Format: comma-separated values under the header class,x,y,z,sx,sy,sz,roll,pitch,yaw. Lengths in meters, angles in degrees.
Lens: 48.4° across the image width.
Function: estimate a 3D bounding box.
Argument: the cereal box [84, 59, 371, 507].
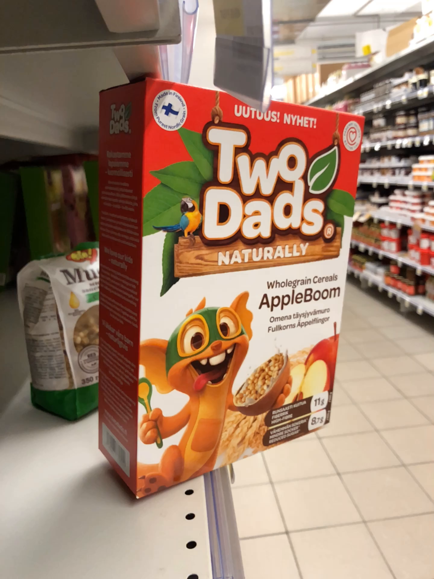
class,x,y,z,sx,sy,sz,roll,pitch,yaw
cereal box,0.009,-0.008,0.375,0.200,0.269,0.080,-6,15,-36
